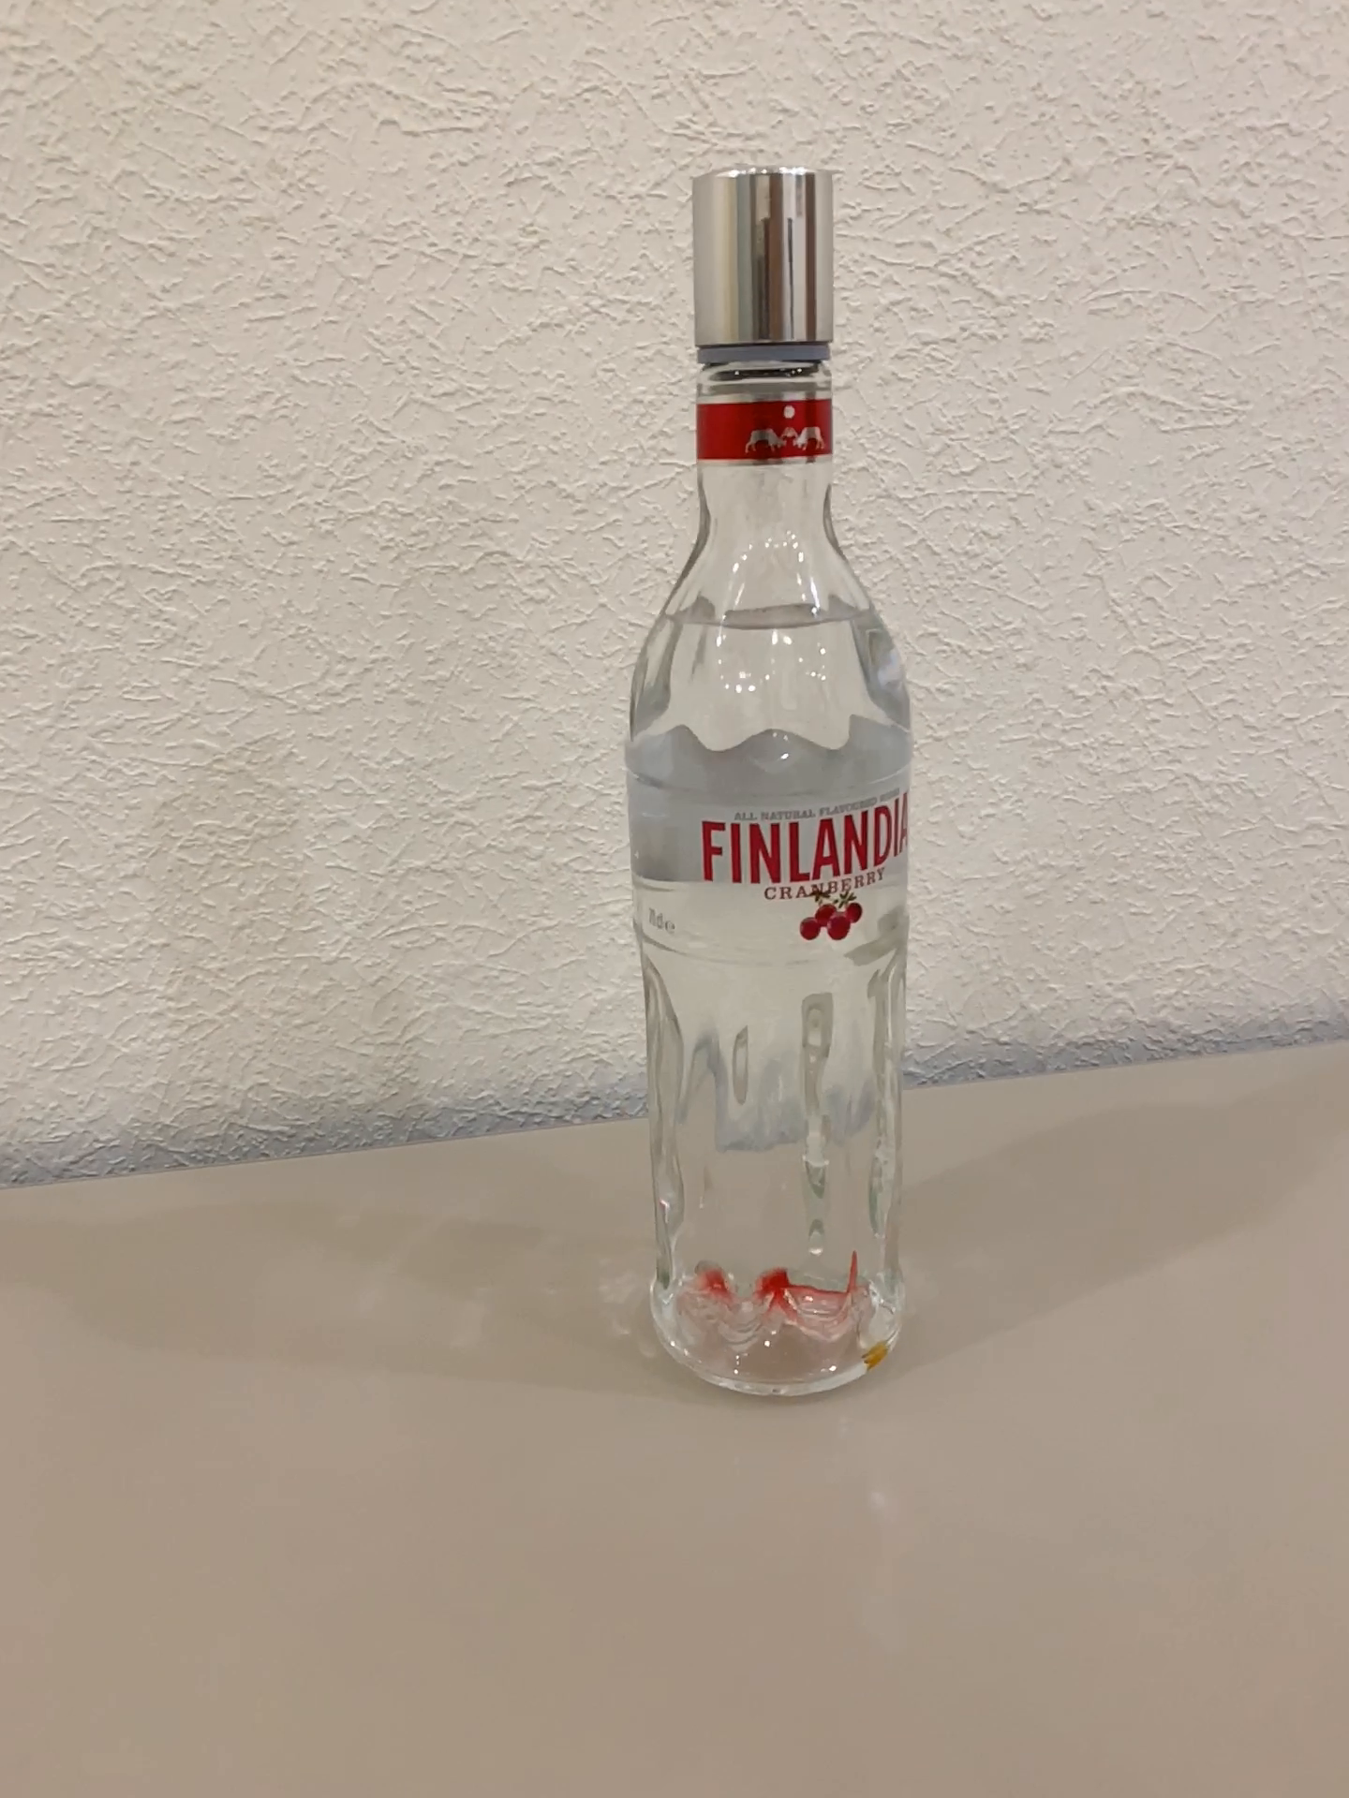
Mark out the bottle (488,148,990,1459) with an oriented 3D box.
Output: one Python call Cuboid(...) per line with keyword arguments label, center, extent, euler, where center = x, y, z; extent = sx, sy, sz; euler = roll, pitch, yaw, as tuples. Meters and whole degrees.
Cuboid(label="bottle", center=(0.015, -0.018, 0.370), extent=(0.090, 0.309, 0.090), euler=(-2, 19, 1))
